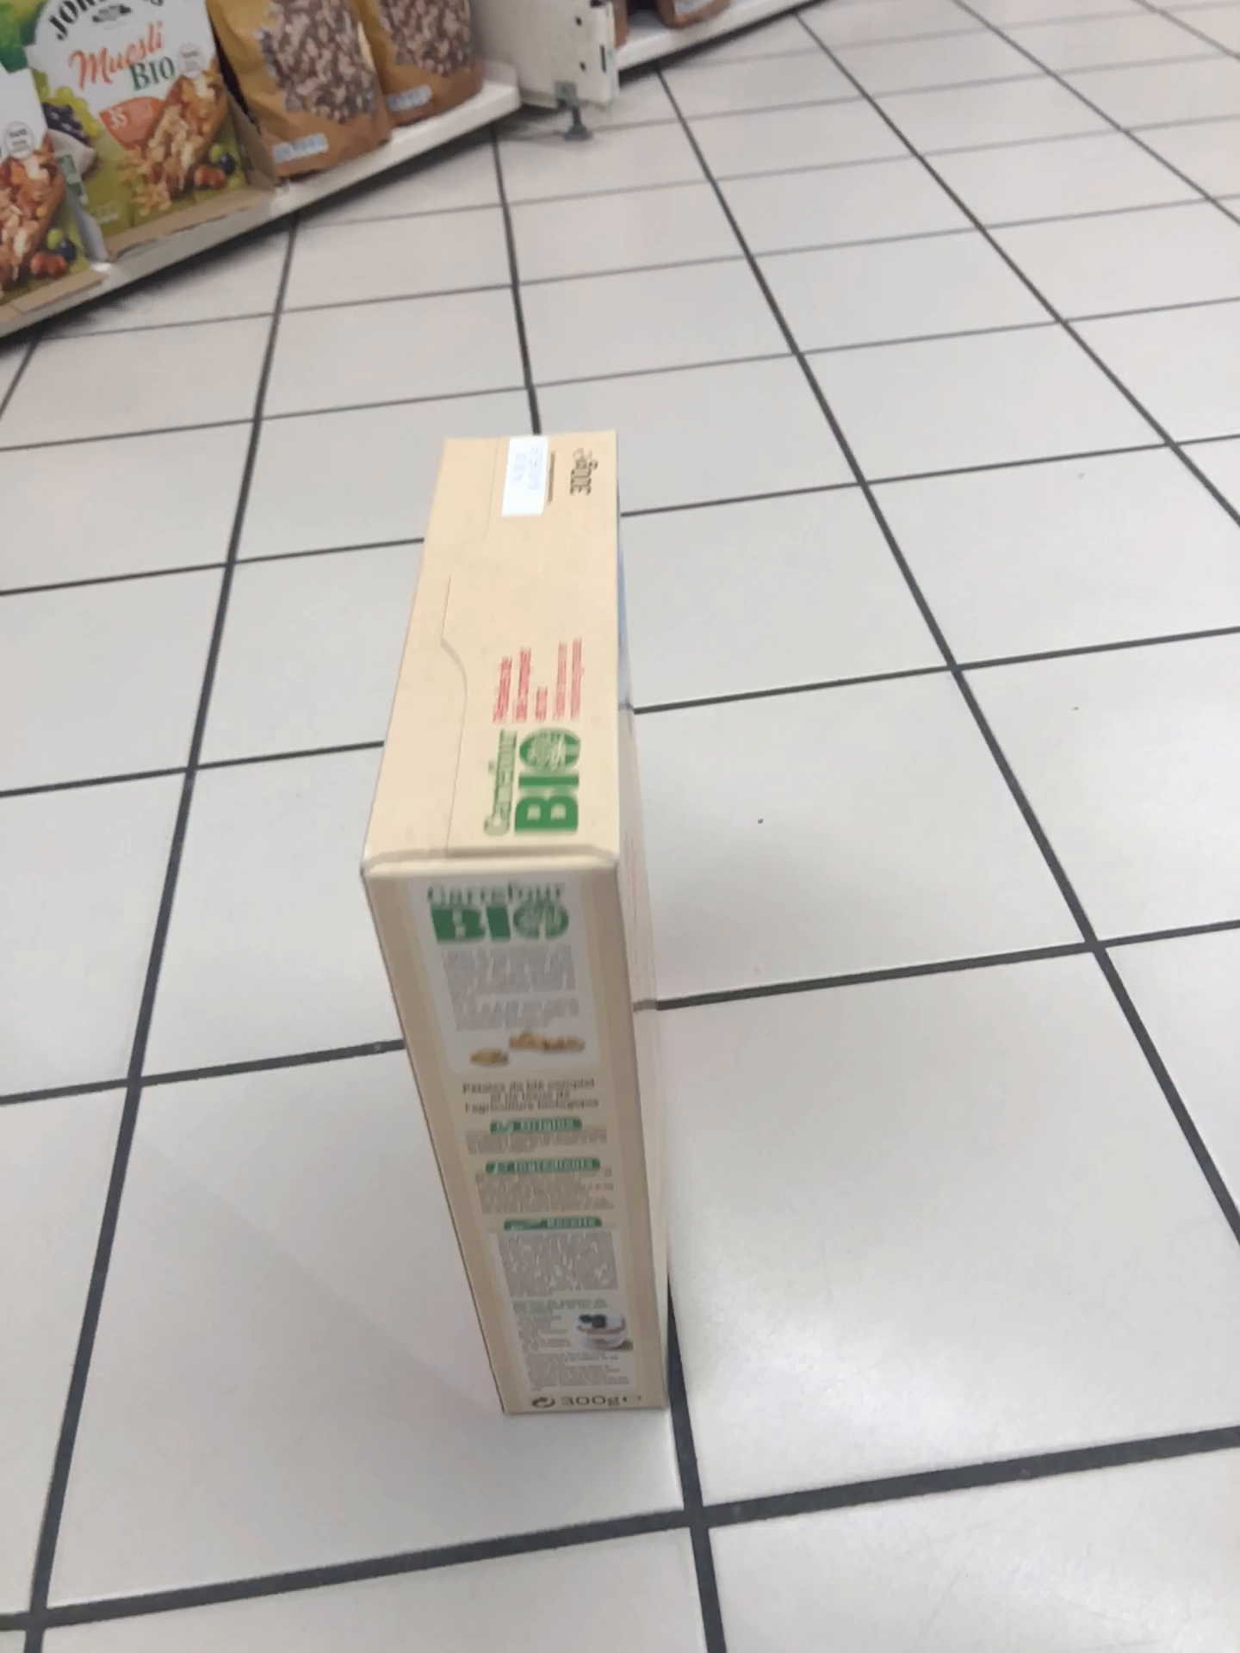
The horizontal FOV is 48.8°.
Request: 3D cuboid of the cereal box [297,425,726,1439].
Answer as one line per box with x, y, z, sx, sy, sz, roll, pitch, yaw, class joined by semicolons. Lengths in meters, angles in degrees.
-0.016;0.035;0.434;0.080;0.238;0.211;-3;42;3;cereal box
